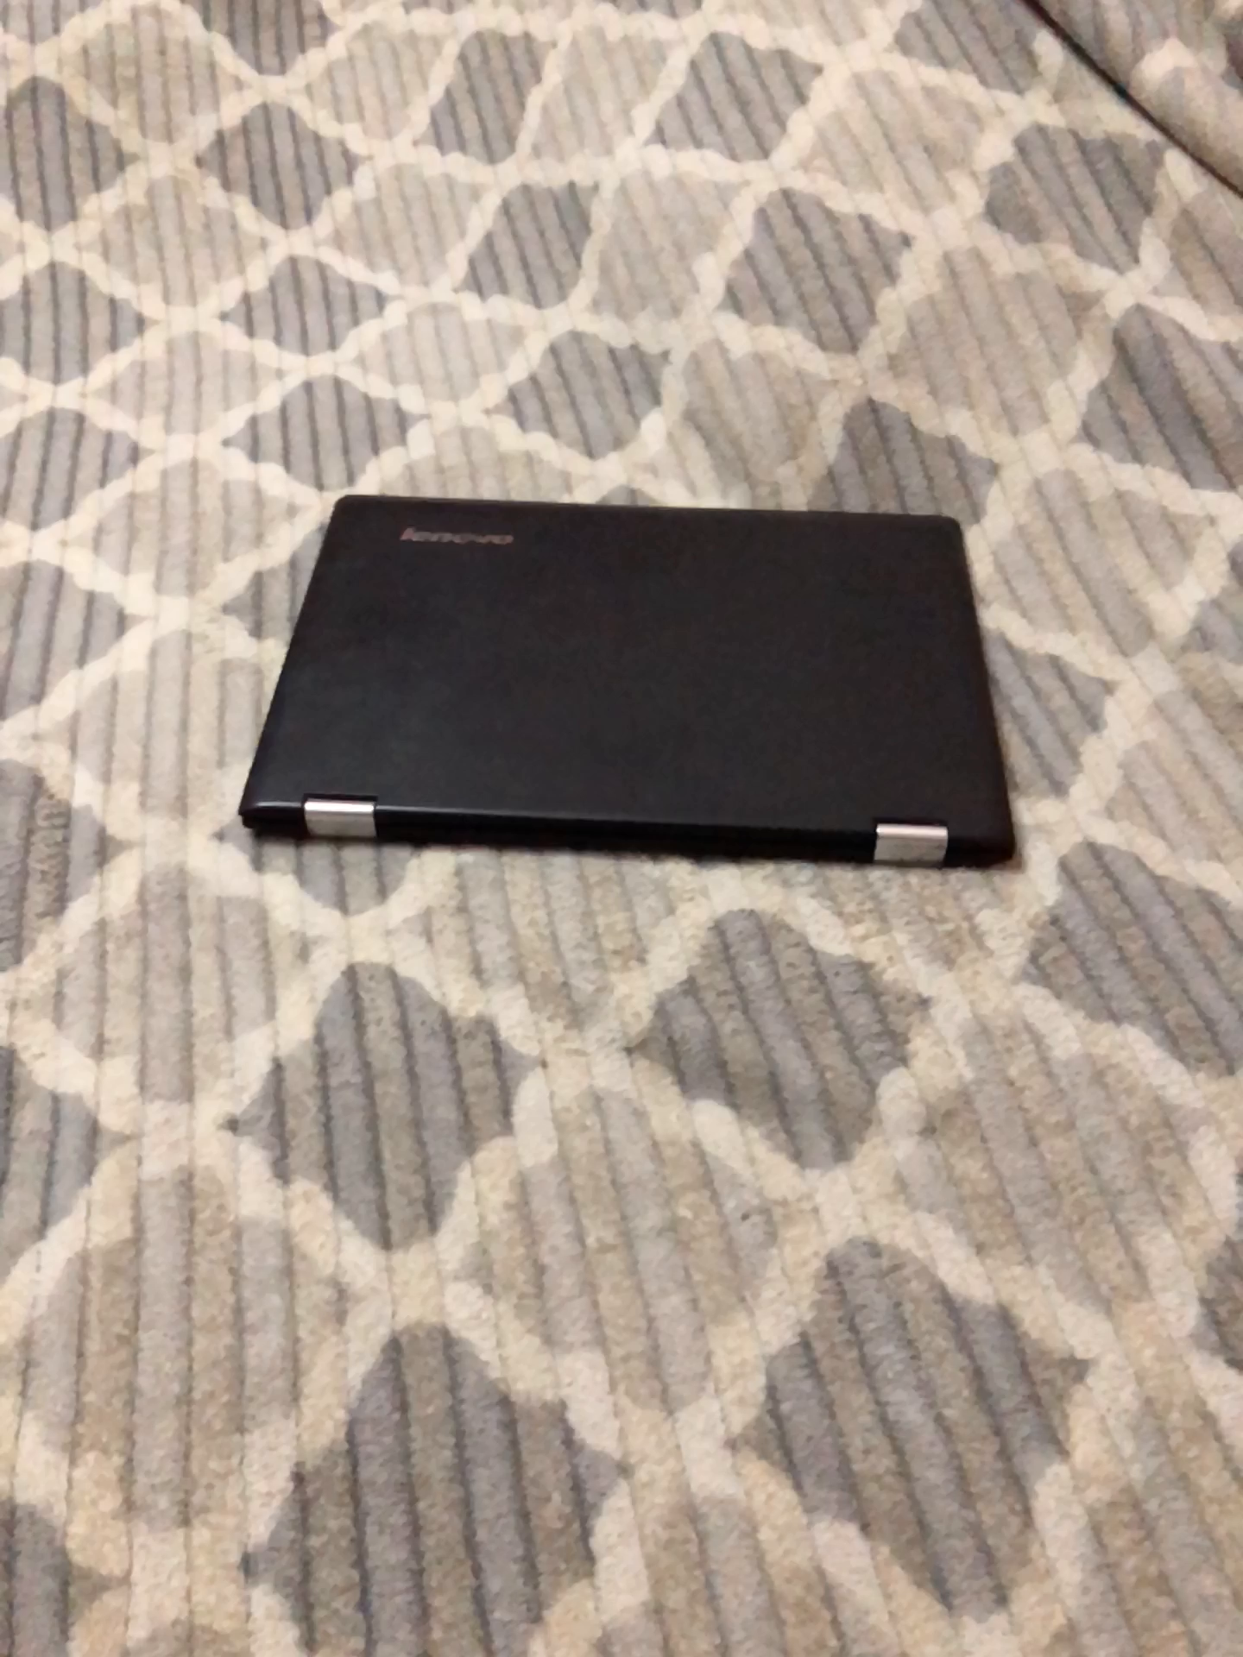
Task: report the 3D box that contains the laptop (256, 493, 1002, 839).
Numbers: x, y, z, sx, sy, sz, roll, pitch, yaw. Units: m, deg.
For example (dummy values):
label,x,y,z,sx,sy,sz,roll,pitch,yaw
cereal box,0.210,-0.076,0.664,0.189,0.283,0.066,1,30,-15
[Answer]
label,x,y,z,sx,sy,sz,roll,pitch,yaw
laptop,0.009,-0.092,0.699,0.339,0.005,0.232,3,50,1
